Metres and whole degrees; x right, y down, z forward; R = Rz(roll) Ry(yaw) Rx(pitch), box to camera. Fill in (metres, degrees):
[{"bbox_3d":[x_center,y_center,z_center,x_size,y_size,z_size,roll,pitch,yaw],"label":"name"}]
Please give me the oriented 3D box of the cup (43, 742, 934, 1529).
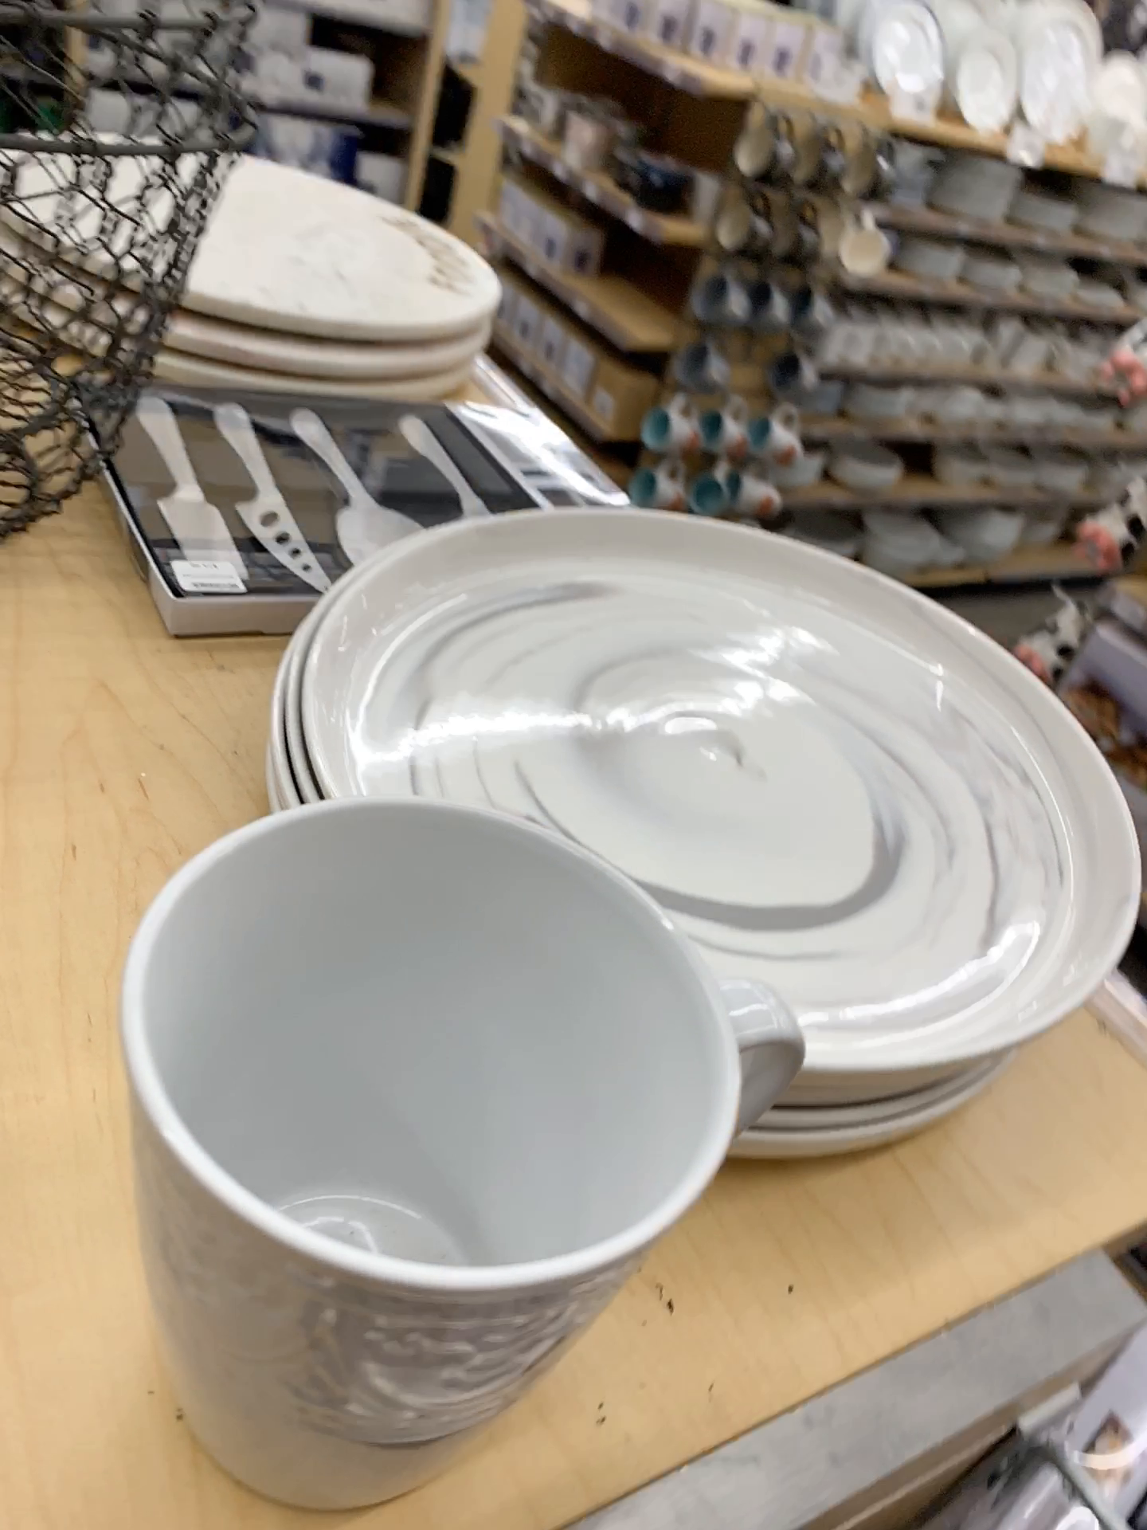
[{"bbox_3d":[-0.029,0.073,0.230,0.124,0.107,0.099,-6,43,-29],"label":"cup"}]
